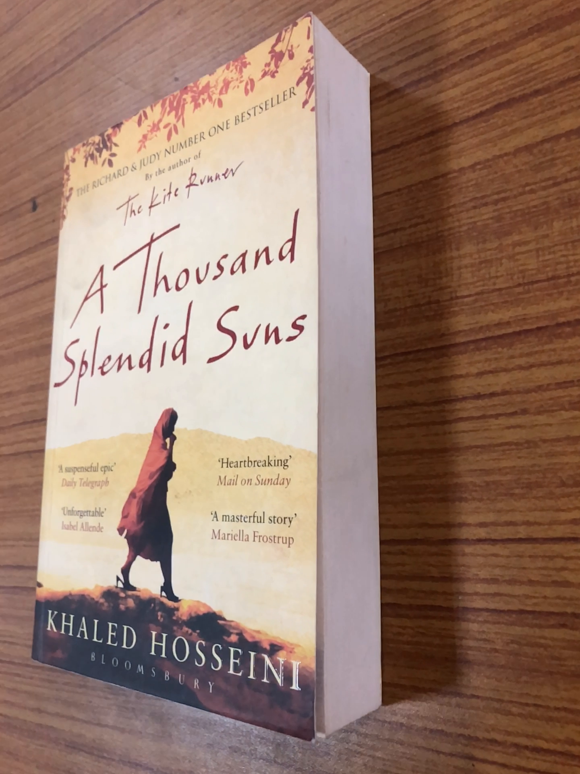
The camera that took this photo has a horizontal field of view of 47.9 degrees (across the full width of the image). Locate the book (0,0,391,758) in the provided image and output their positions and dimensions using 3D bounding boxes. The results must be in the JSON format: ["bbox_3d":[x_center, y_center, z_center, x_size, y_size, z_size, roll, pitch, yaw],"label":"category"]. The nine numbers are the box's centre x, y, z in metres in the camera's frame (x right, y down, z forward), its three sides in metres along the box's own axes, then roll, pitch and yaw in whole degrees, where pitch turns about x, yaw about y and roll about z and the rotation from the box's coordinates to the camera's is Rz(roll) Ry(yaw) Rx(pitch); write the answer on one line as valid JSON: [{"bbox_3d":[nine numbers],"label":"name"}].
[{"bbox_3d":[-0.040,-0.002,0.215,0.141,0.030,0.190,-7,79,36],"label":"book"}]
